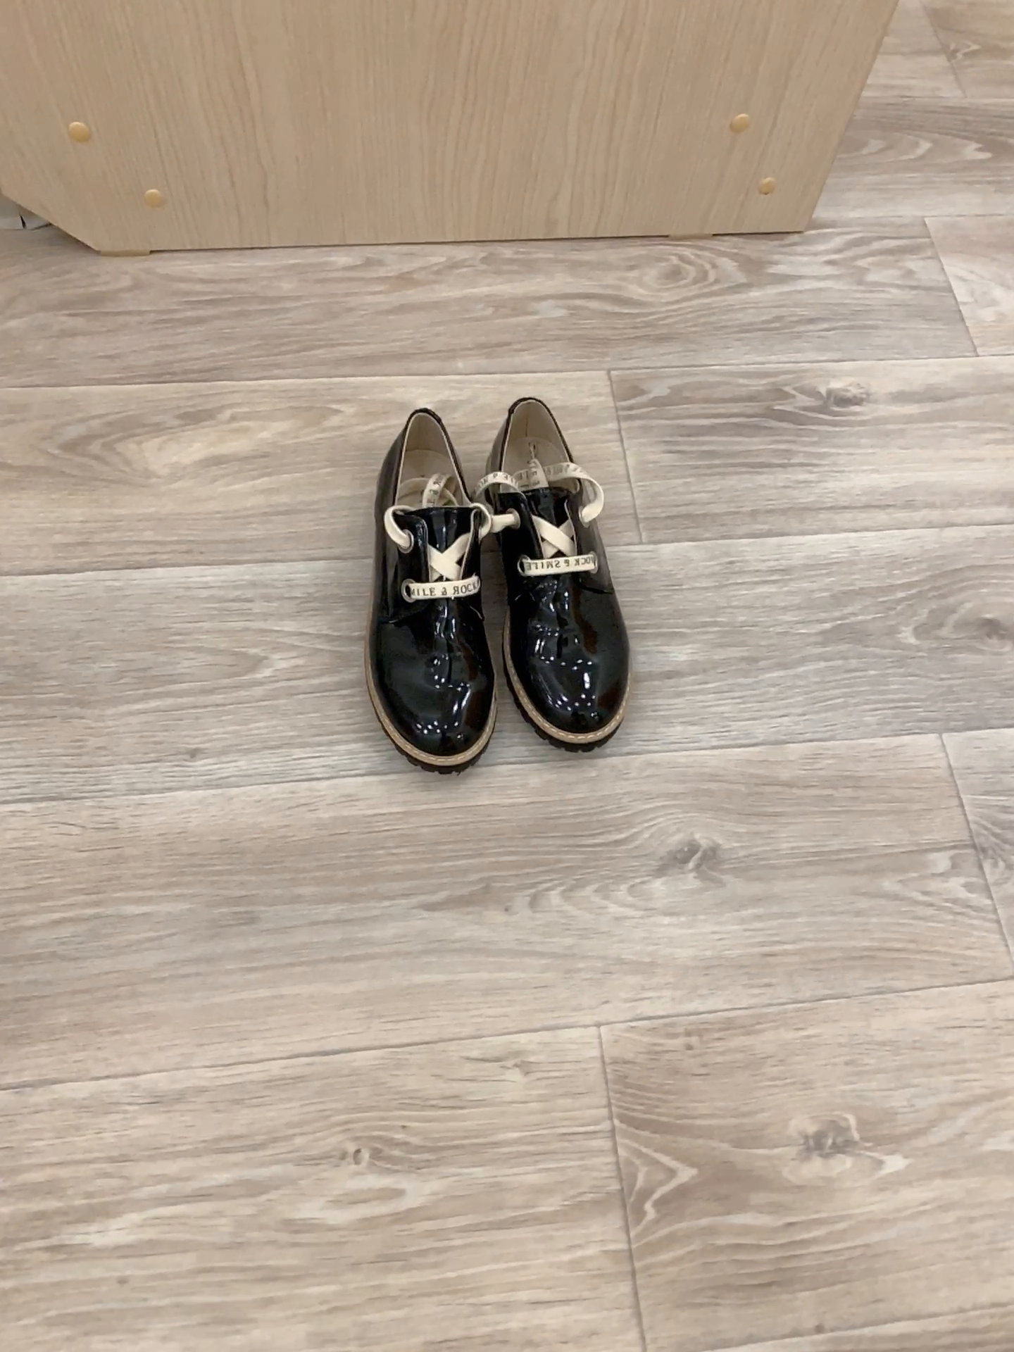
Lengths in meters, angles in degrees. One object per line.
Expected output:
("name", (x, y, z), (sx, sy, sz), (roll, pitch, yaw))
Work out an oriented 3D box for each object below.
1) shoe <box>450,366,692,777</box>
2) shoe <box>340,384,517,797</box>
("shoe", (0.035, -0.079, 0.742), (0.100, 0.100, 0.271), (-9, 64, -9))
("shoe", (-0.060, -0.064, 0.723), (0.100, 0.100, 0.271), (-3, 64, -6))
